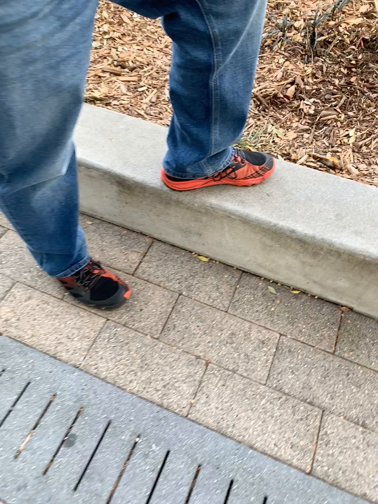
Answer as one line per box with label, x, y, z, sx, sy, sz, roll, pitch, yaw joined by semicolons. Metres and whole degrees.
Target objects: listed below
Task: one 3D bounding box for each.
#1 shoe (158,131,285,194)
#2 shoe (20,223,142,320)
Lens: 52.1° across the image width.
shoe;0.080;-0.242;1.037;0.310;0.080;0.122;-6;53;-7
shoe;-0.302;0.049;1.093;0.306;0.080;0.137;26;56;17
